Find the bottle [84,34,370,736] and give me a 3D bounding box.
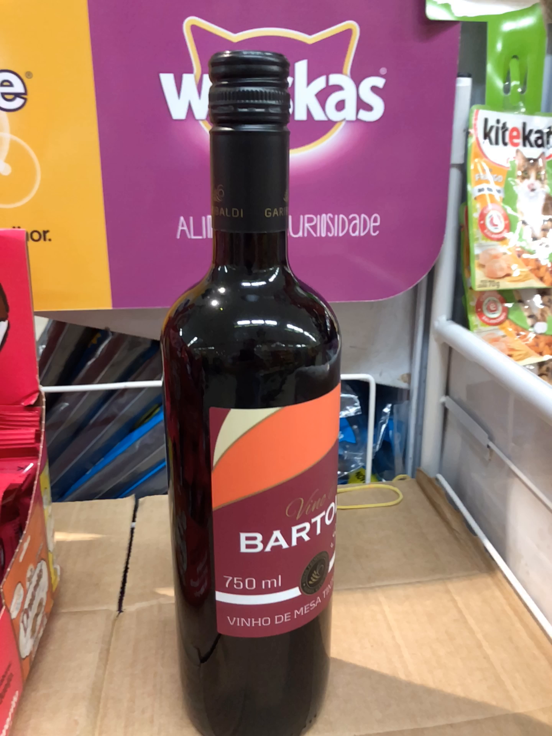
[{"bbox_3d":[-0.015,0.032,0.264,0.080,0.298,0.060,-18,26,-41],"label":"bottle"}]
